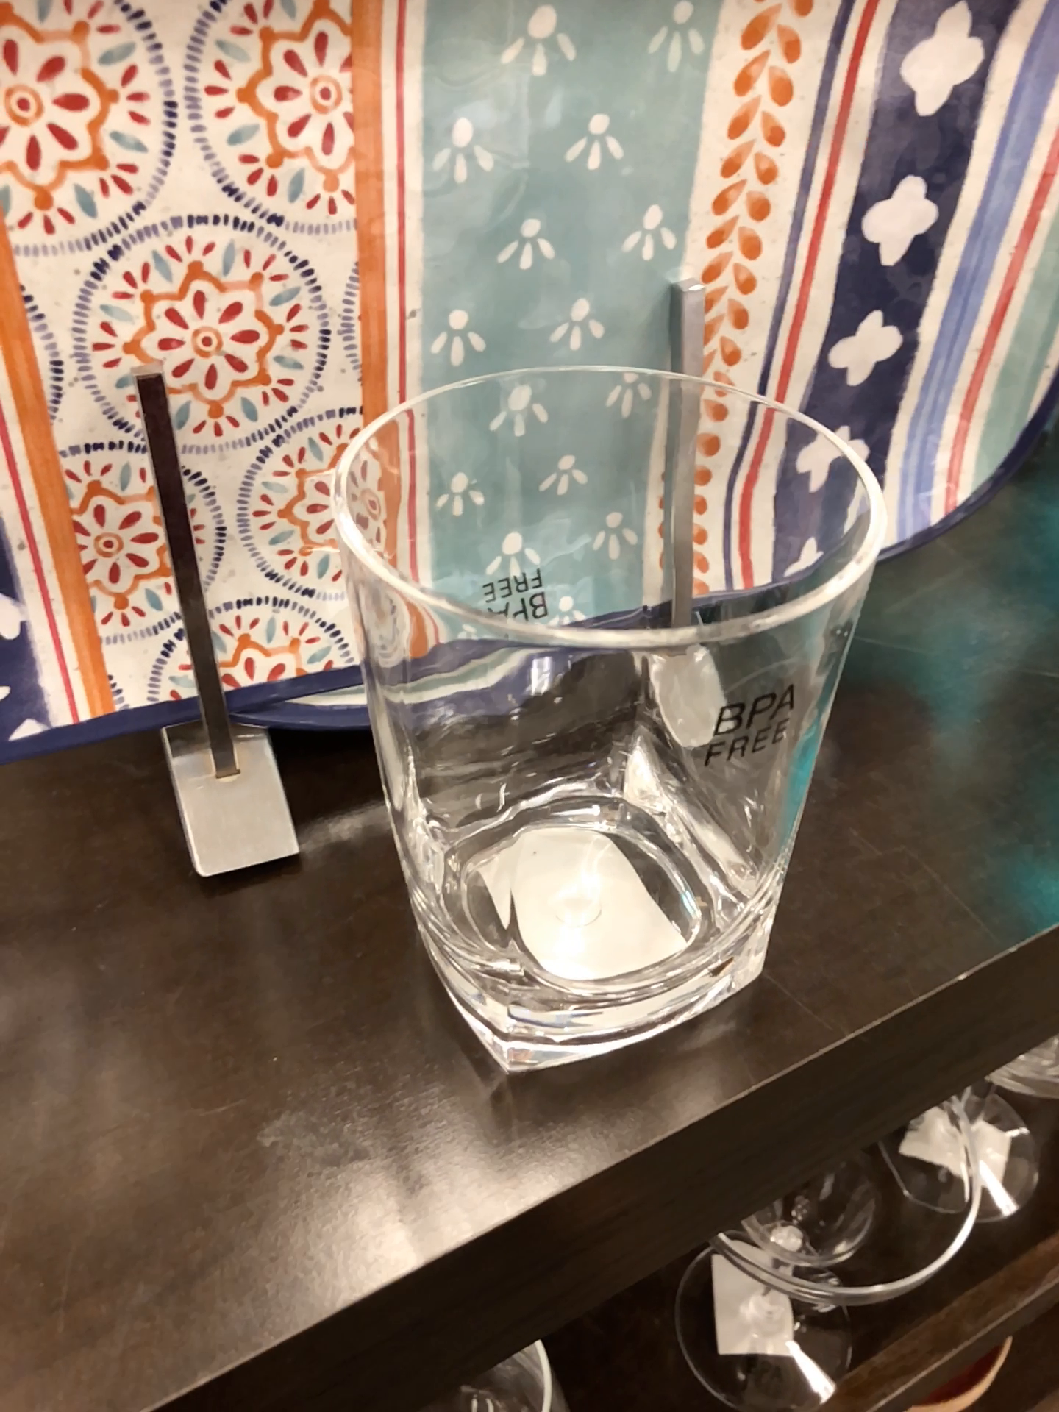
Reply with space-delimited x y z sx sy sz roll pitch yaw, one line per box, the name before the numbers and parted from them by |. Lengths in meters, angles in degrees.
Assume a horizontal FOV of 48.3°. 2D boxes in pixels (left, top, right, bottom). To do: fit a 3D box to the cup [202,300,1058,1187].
cup | 0.012 -0.001 0.240 0.114 0.111 0.108 1 40 -1
